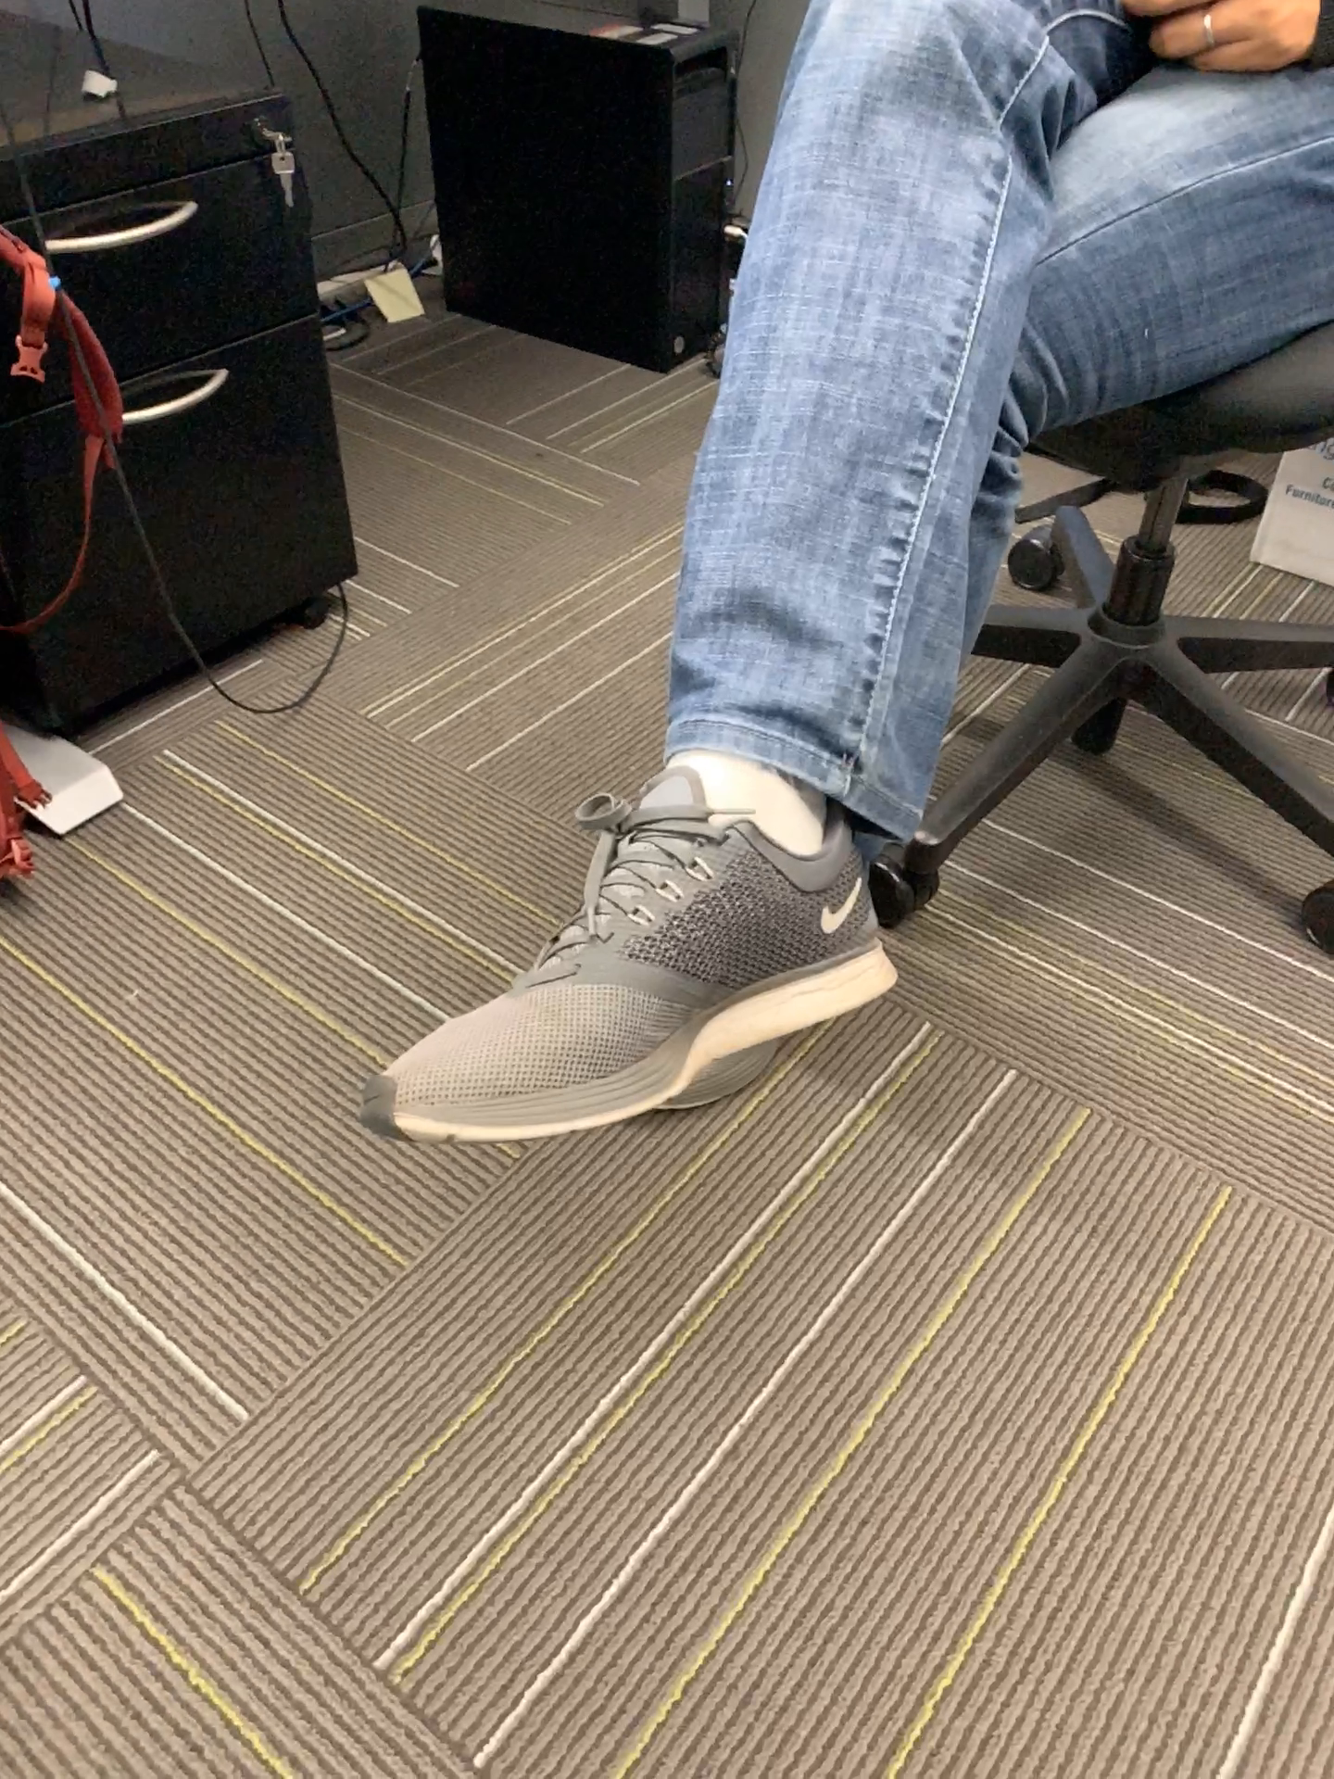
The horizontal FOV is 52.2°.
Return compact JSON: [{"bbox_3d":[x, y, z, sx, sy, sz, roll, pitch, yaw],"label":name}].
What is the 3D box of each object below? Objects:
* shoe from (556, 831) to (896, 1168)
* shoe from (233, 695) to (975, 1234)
[{"bbox_3d":[0.050,0.077,1.070,0.120,0.085,0.270,30,49,27],"label":"shoe"},{"bbox_3d":[-0.020,0.023,0.631,0.295,0.143,0.122,-20,5,-33],"label":"shoe"}]
